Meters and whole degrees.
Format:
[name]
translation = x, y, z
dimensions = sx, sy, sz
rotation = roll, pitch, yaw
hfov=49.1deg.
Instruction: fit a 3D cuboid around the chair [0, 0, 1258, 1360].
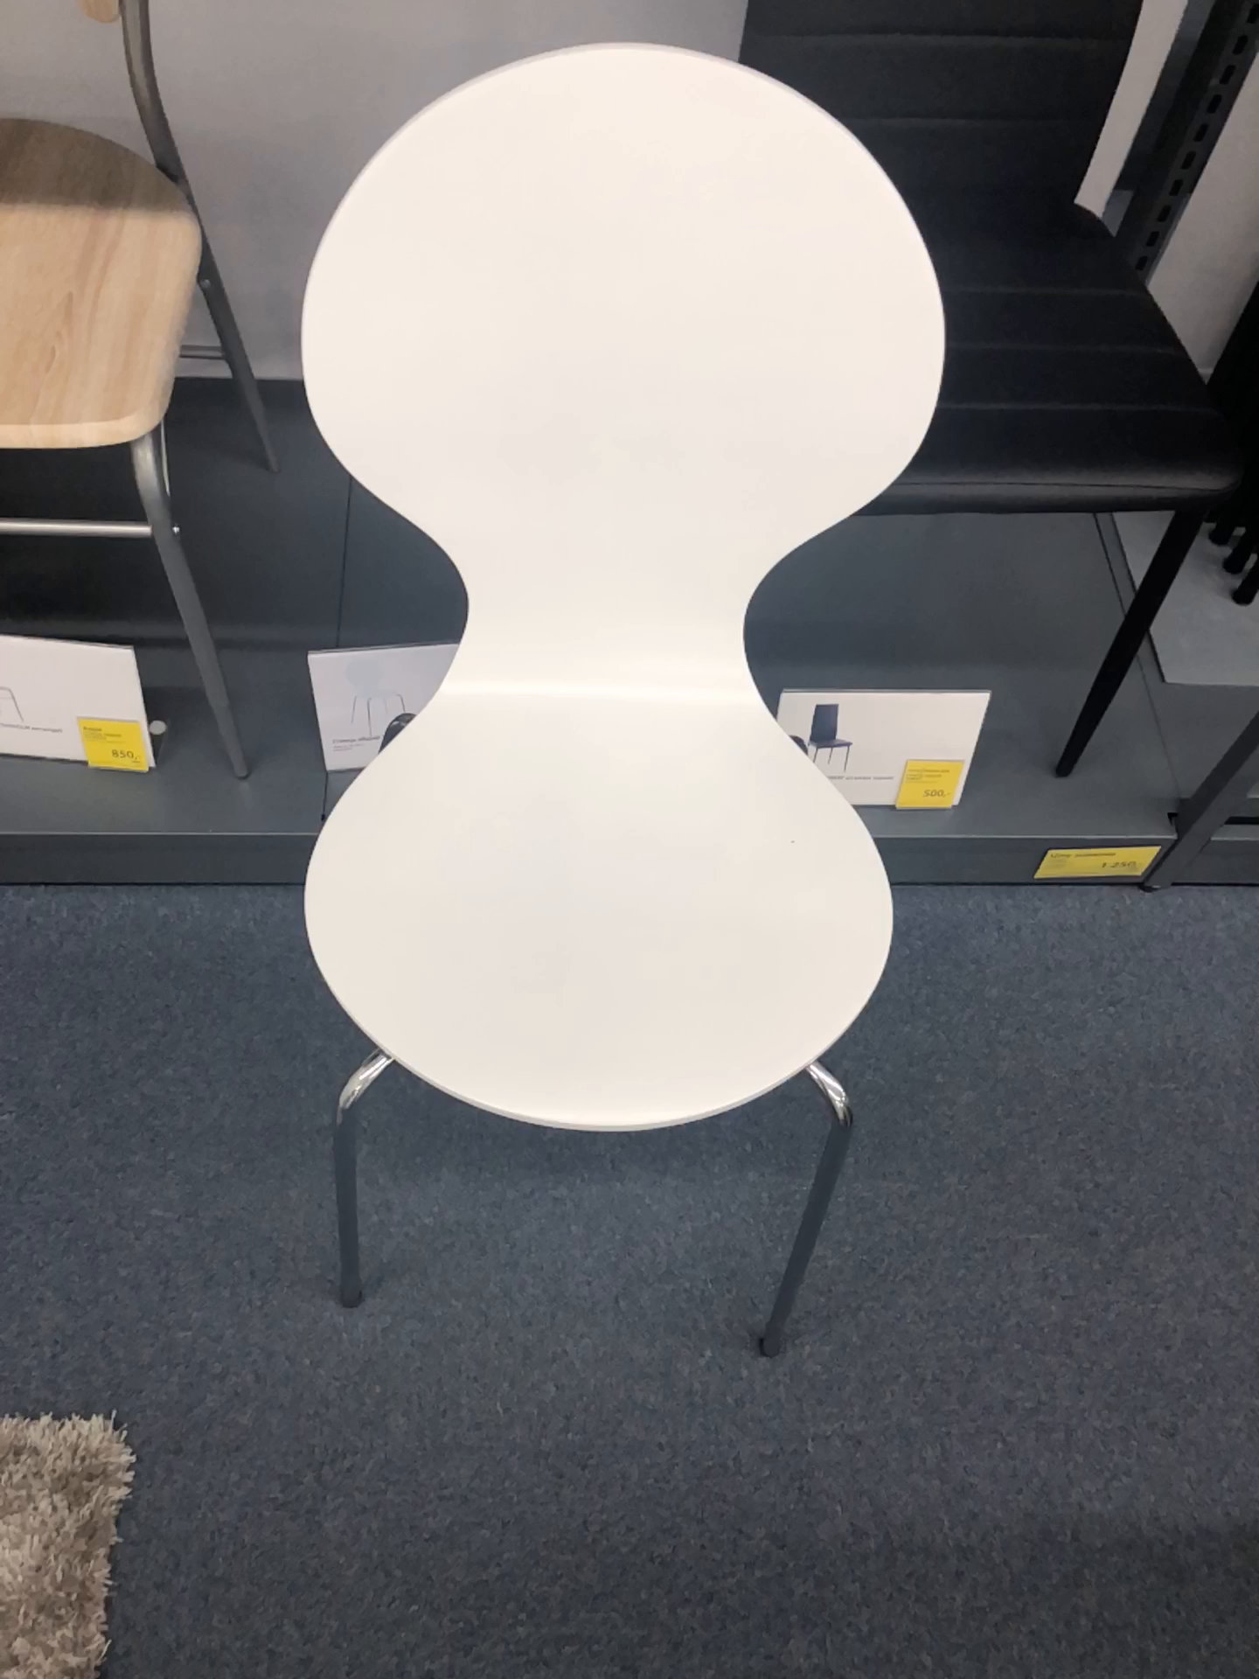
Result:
[chair]
translation = -0.034, 0.003, 1.038
dimensions = 0.560, 0.897, 0.541
rotation = 4, 58, -4
